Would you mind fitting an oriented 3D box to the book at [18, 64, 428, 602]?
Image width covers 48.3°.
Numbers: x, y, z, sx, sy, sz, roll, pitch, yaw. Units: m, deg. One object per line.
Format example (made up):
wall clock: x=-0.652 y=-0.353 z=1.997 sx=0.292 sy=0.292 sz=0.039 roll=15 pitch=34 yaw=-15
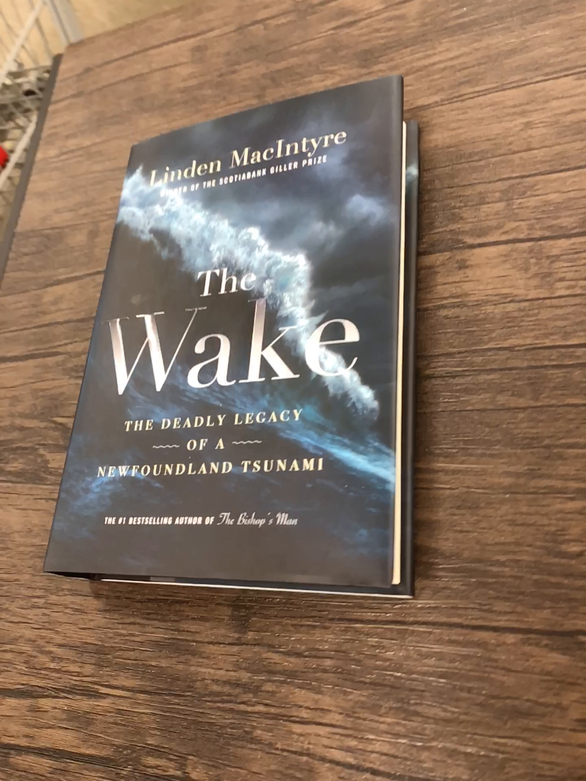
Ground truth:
book: x=-0.023 y=-0.028 z=0.308 sx=0.160 sy=0.050 sz=0.230 roll=-4 pitch=67 yaw=23
